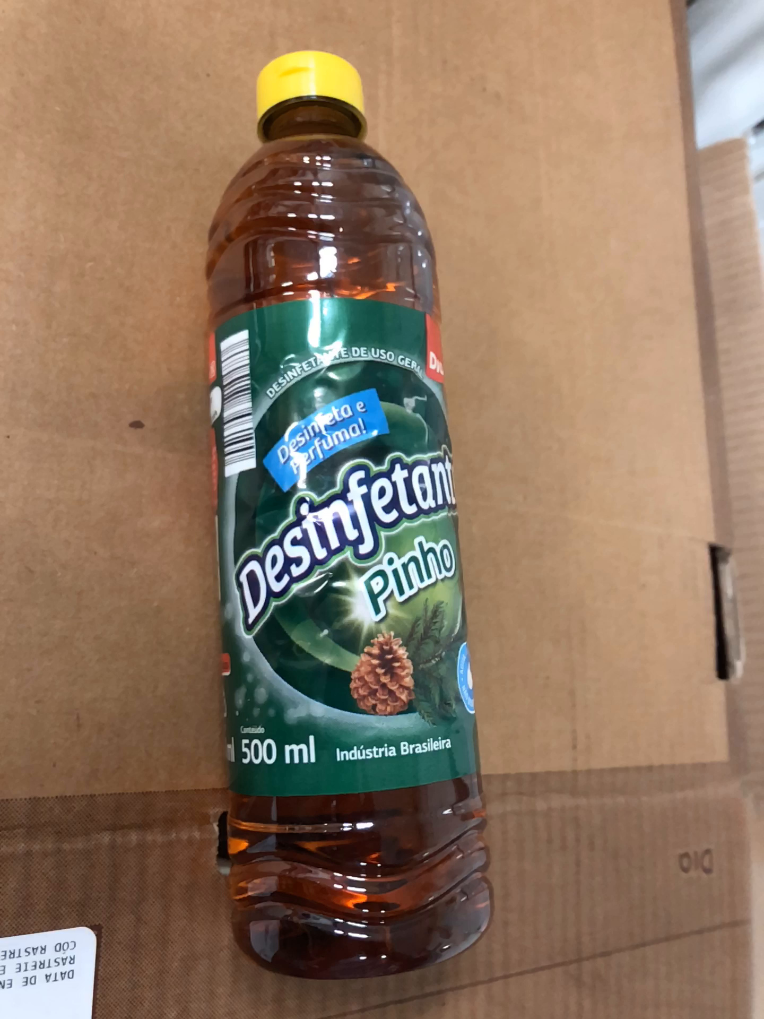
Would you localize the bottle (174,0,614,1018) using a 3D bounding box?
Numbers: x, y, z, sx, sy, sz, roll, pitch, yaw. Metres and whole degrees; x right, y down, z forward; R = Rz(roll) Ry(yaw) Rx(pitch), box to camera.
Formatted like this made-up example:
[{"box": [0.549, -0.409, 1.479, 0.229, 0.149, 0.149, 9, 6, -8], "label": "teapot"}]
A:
[{"box": [-0.009, -0.008, 0.203, 0.060, 0.070, 0.220, -1, 77, -21], "label": "bottle"}]
